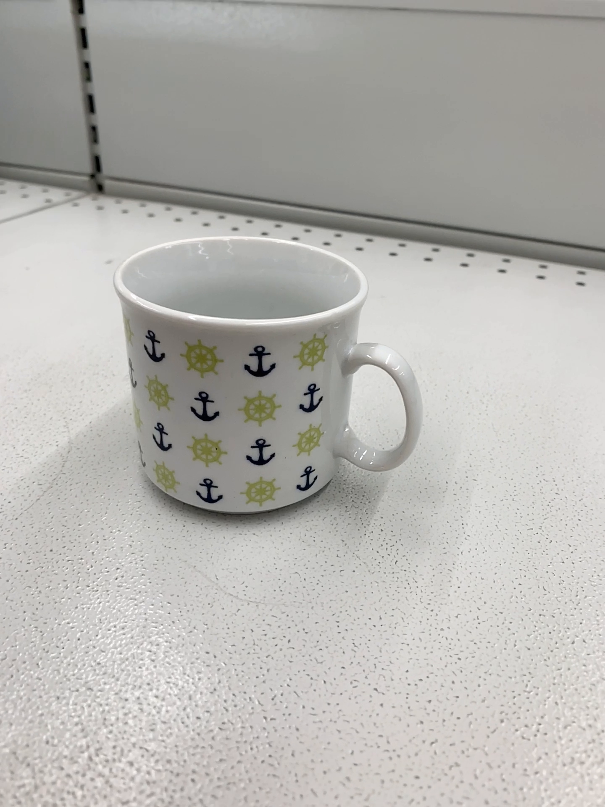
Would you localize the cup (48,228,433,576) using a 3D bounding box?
[{"bbox_3d":[-0.013,-0.006,0.207,0.096,0.076,0.078,6,29,6],"label":"cup"}]
